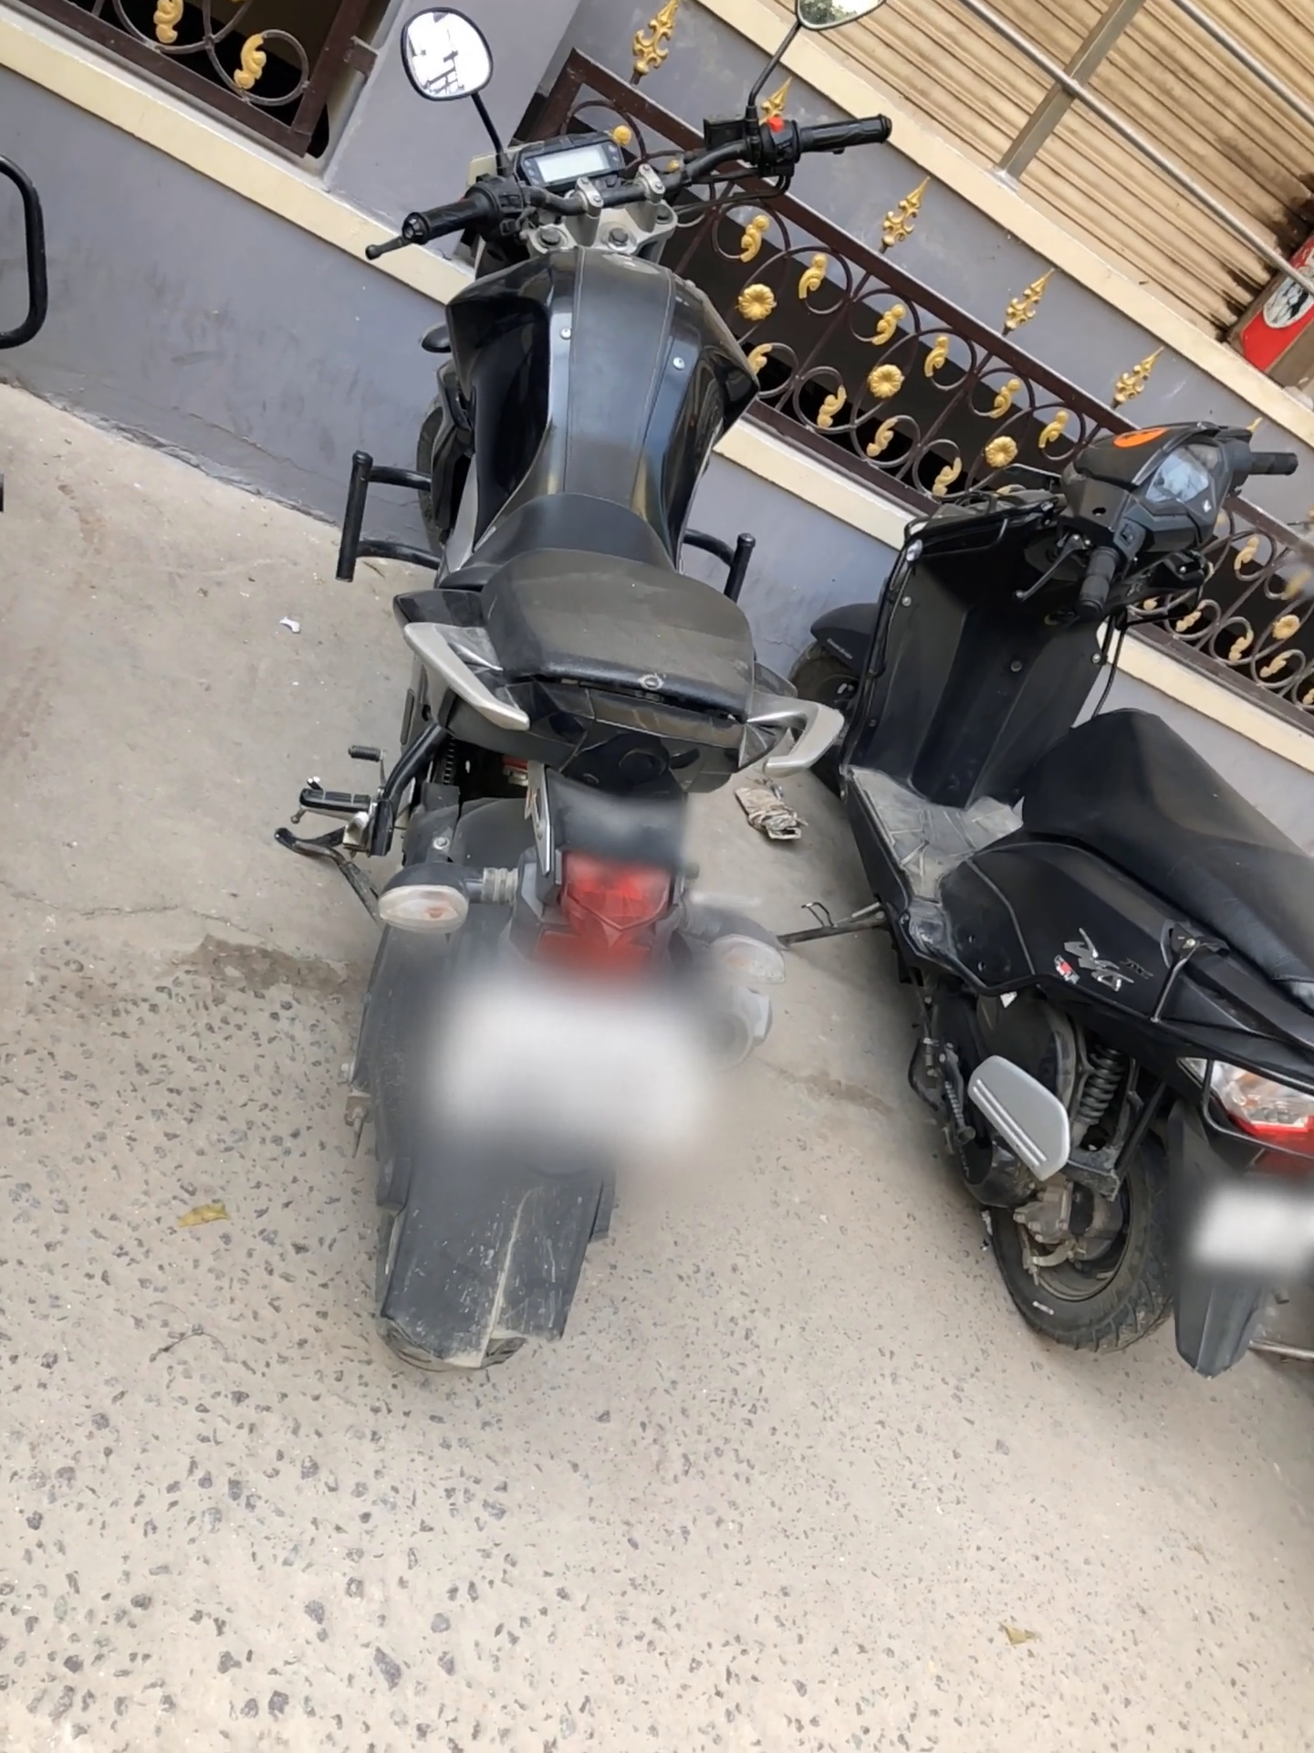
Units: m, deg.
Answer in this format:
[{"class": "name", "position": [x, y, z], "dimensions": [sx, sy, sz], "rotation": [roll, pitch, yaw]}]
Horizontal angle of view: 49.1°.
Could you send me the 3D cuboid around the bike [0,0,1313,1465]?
[{"class": "bike", "position": [-0.265, -0.504, 1.775], "dimensions": [0.693, 1.197, 1.764], "rotation": [21, 34, -27]}]
